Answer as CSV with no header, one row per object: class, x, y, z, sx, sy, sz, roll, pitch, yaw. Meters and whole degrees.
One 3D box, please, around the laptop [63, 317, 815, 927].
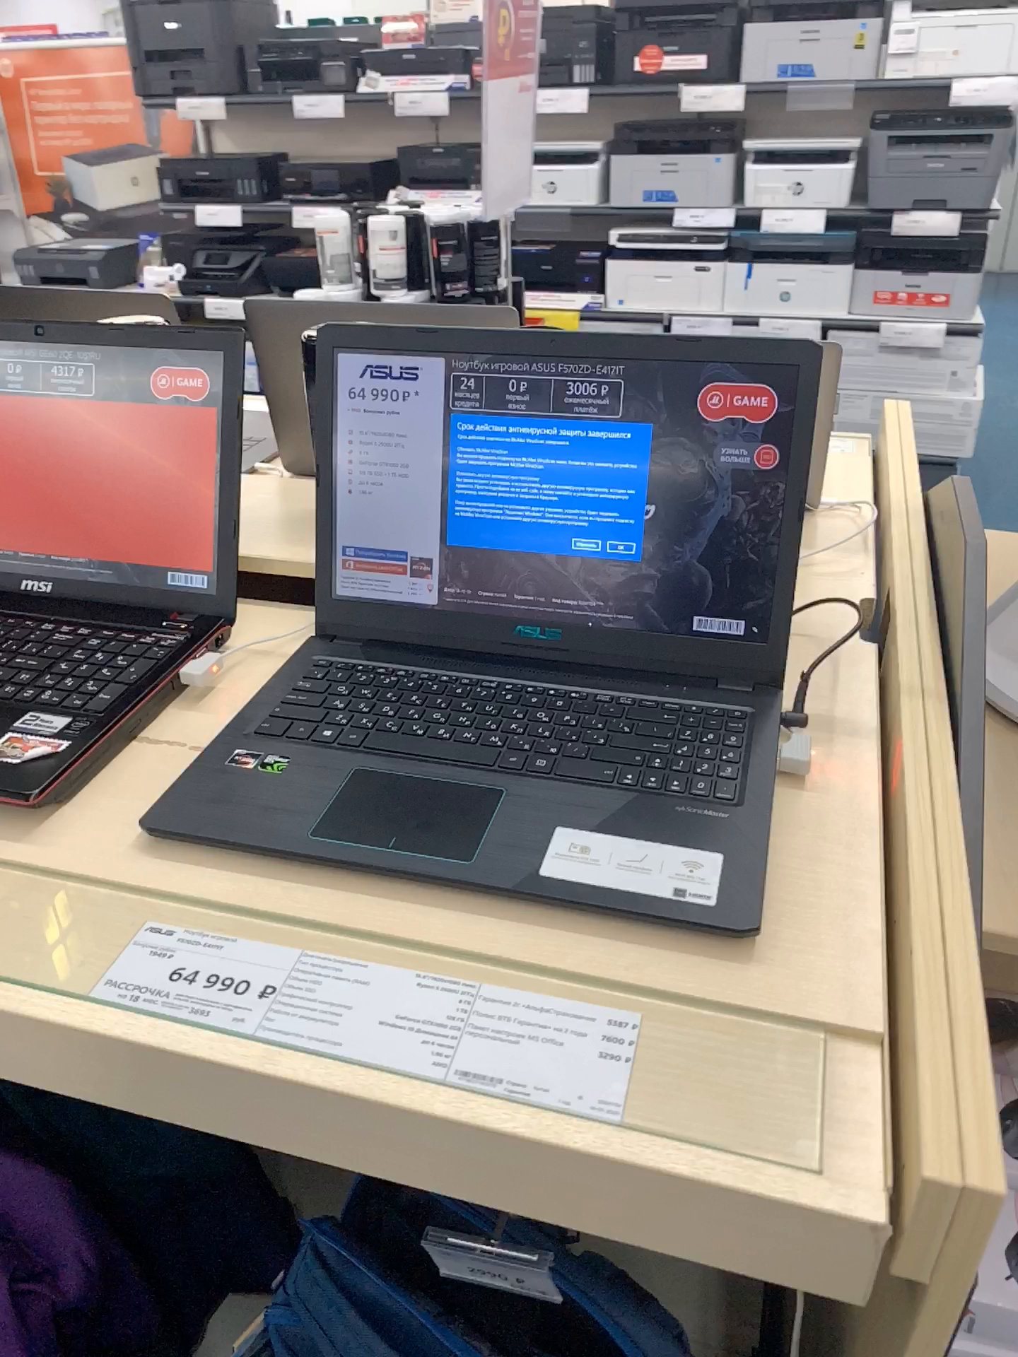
laptop,-0.007,-0.072,0.657,0.358,0.222,0.319,7,32,14
